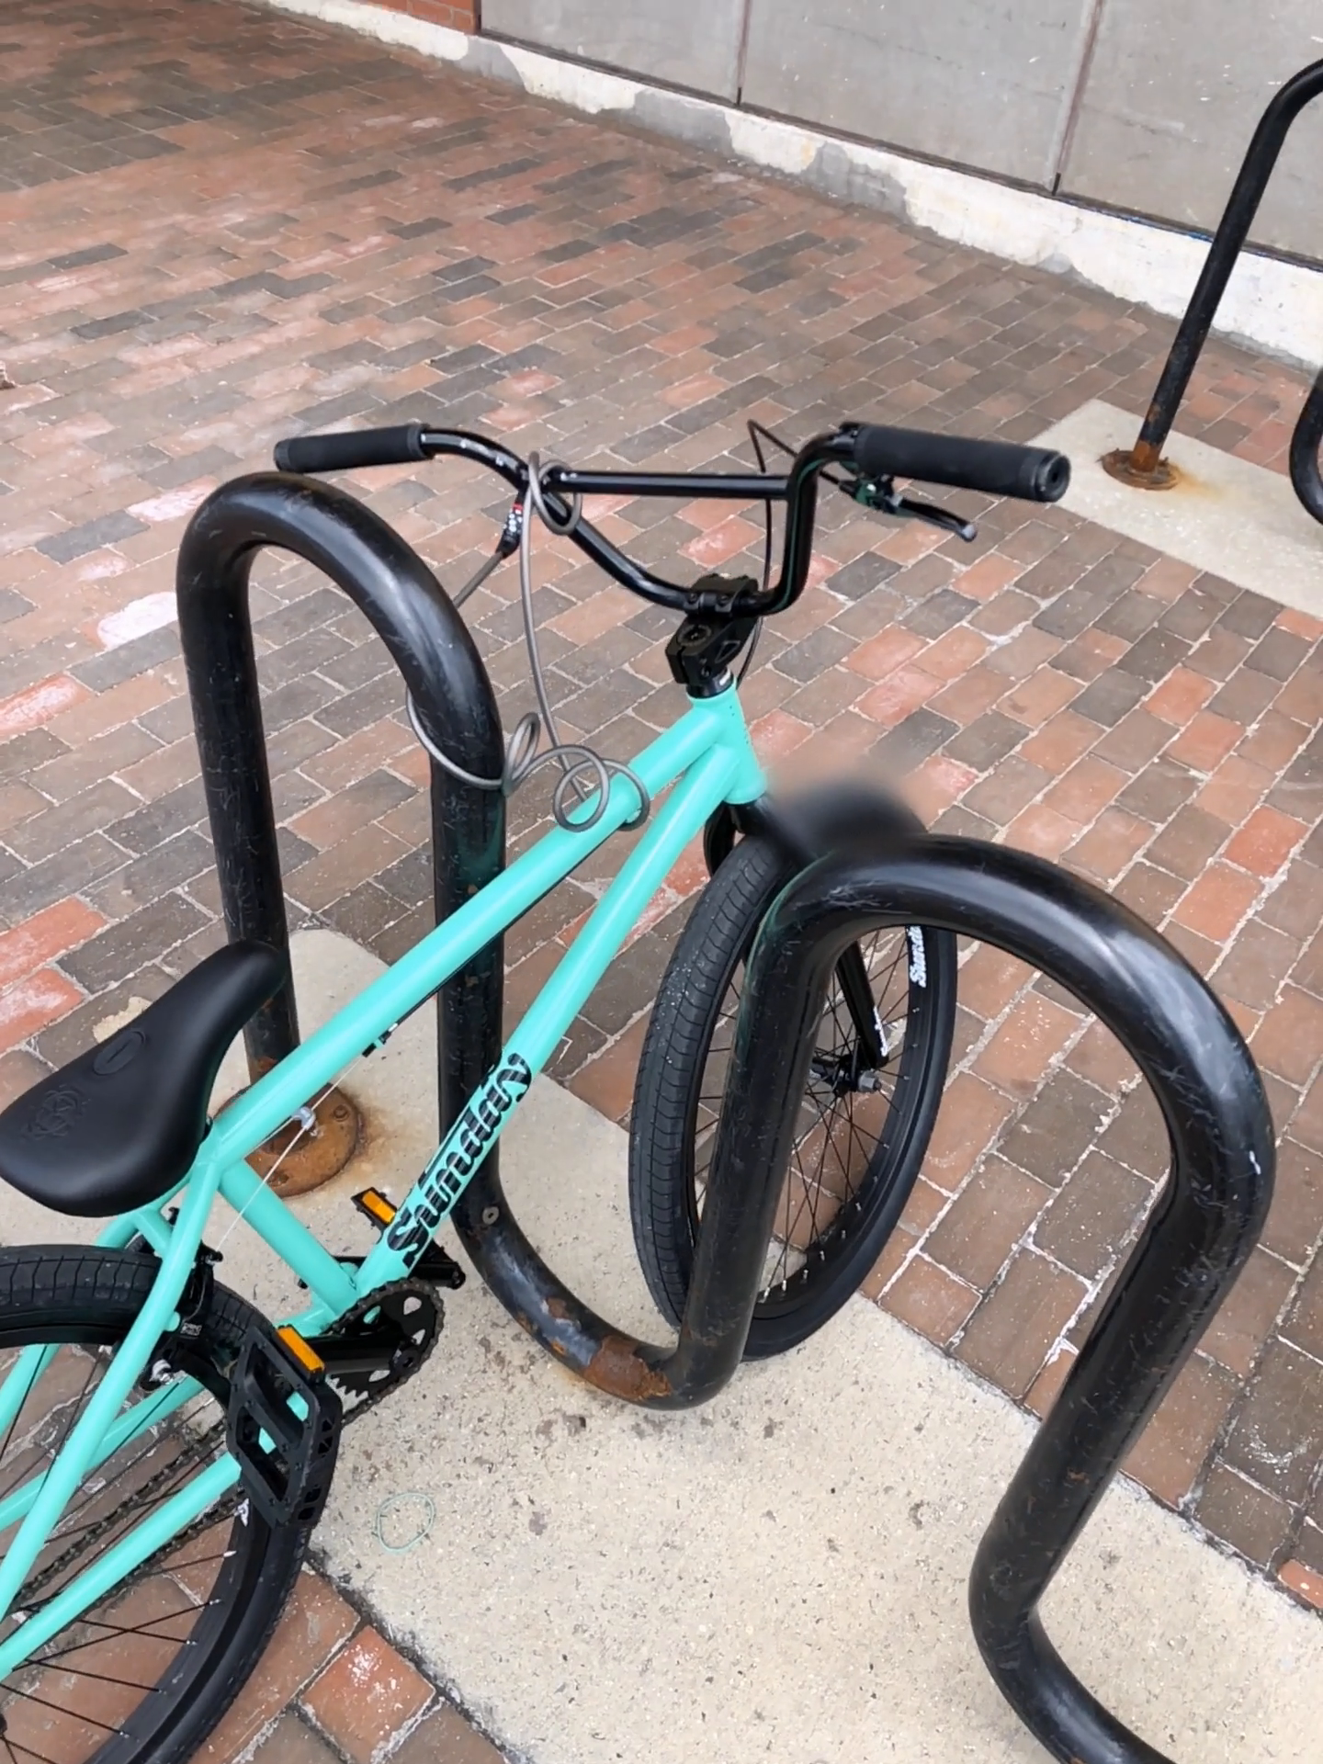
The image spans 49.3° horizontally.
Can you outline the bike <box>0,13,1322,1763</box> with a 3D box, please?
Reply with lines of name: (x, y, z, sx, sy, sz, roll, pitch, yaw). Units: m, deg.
bike: (-0.209, 0.138, 1.102, 0.812, 1.067, 1.467, 35, 51, 29)
